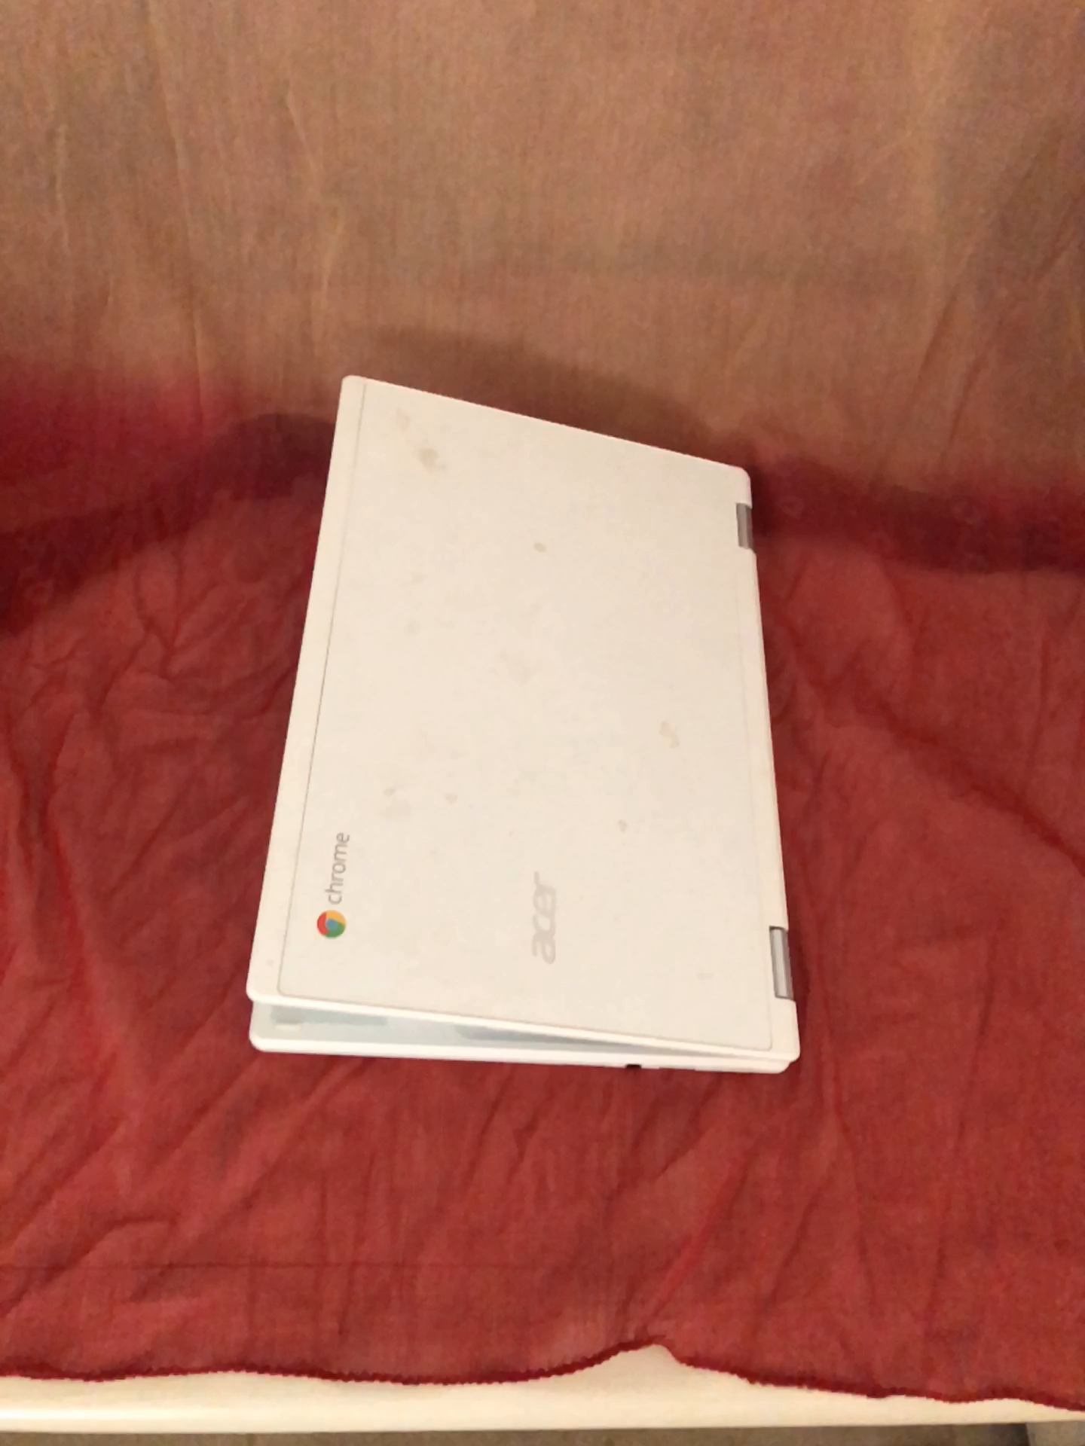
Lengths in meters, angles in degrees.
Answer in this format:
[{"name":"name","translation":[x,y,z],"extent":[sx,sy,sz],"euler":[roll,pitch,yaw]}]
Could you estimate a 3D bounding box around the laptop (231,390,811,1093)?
[{"name":"laptop","translation":[-0.002,-0.008,0.492],"extent":[0.189,0.055,0.289],"euler":[4,57,-1]}]
